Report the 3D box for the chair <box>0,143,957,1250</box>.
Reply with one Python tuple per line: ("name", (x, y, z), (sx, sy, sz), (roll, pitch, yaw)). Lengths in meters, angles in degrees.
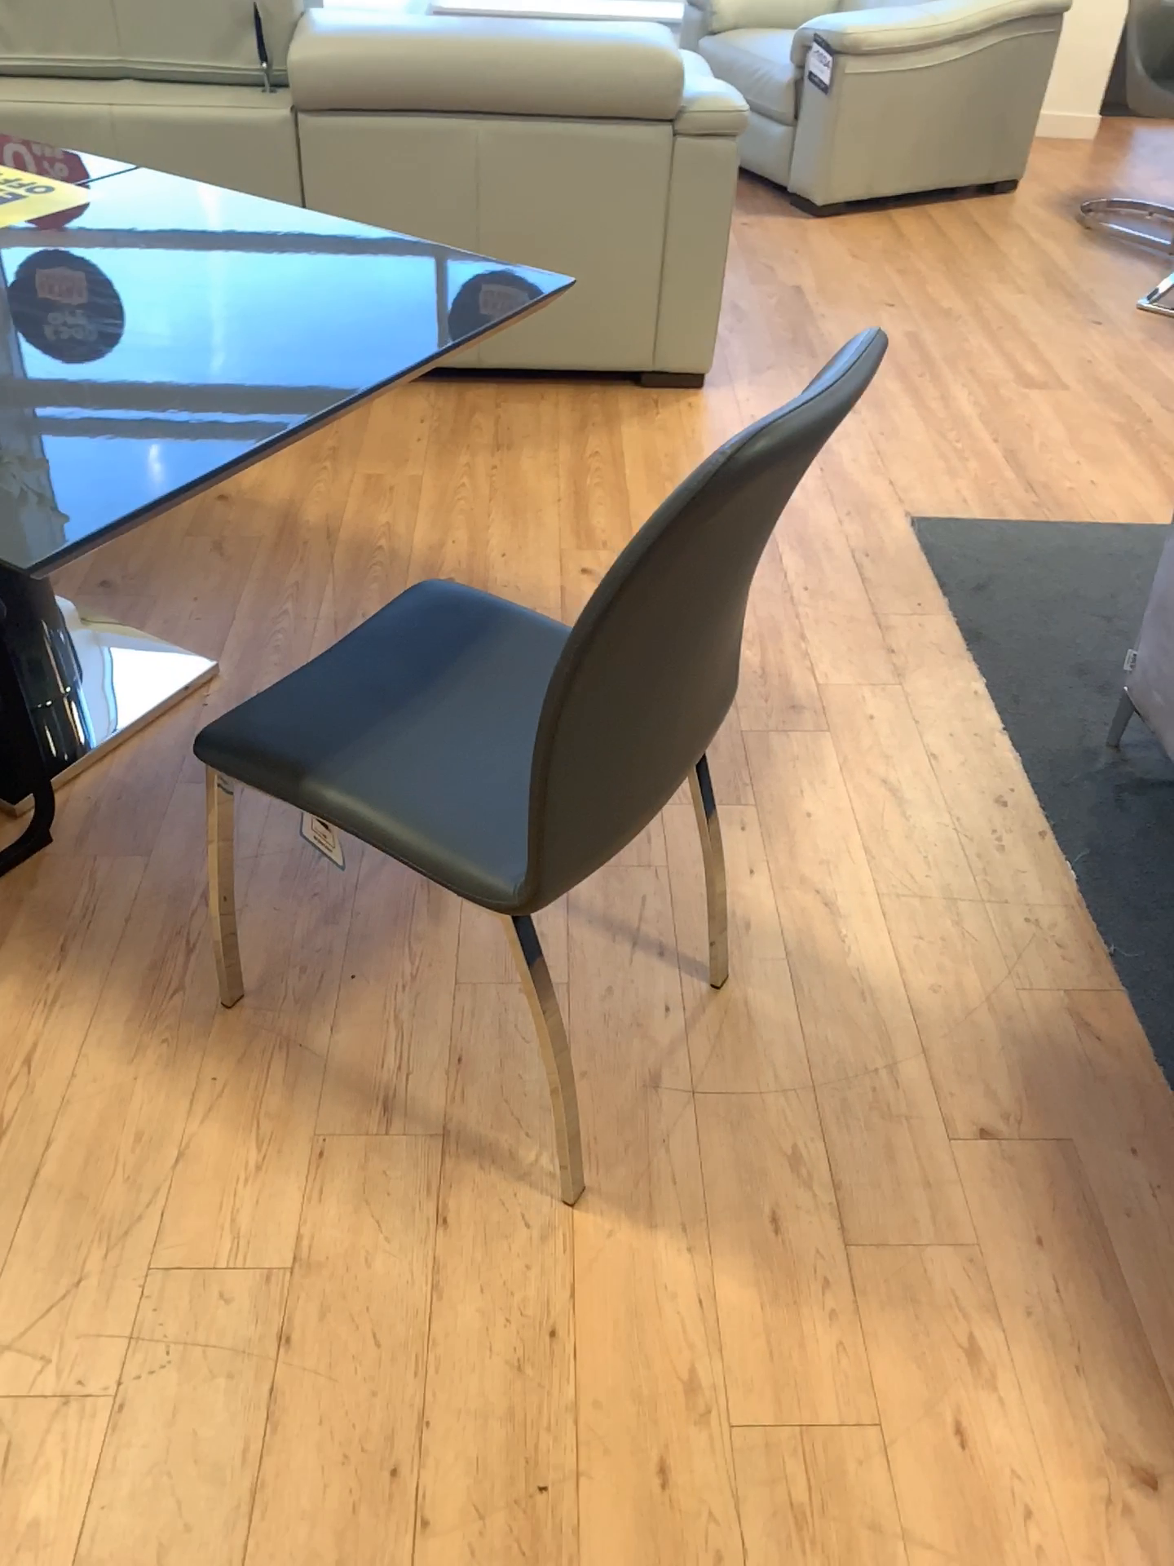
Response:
("chair", (-0.095, -0.090, 1.303), (0.632, 0.911, 0.514), (24, 45, 22))
